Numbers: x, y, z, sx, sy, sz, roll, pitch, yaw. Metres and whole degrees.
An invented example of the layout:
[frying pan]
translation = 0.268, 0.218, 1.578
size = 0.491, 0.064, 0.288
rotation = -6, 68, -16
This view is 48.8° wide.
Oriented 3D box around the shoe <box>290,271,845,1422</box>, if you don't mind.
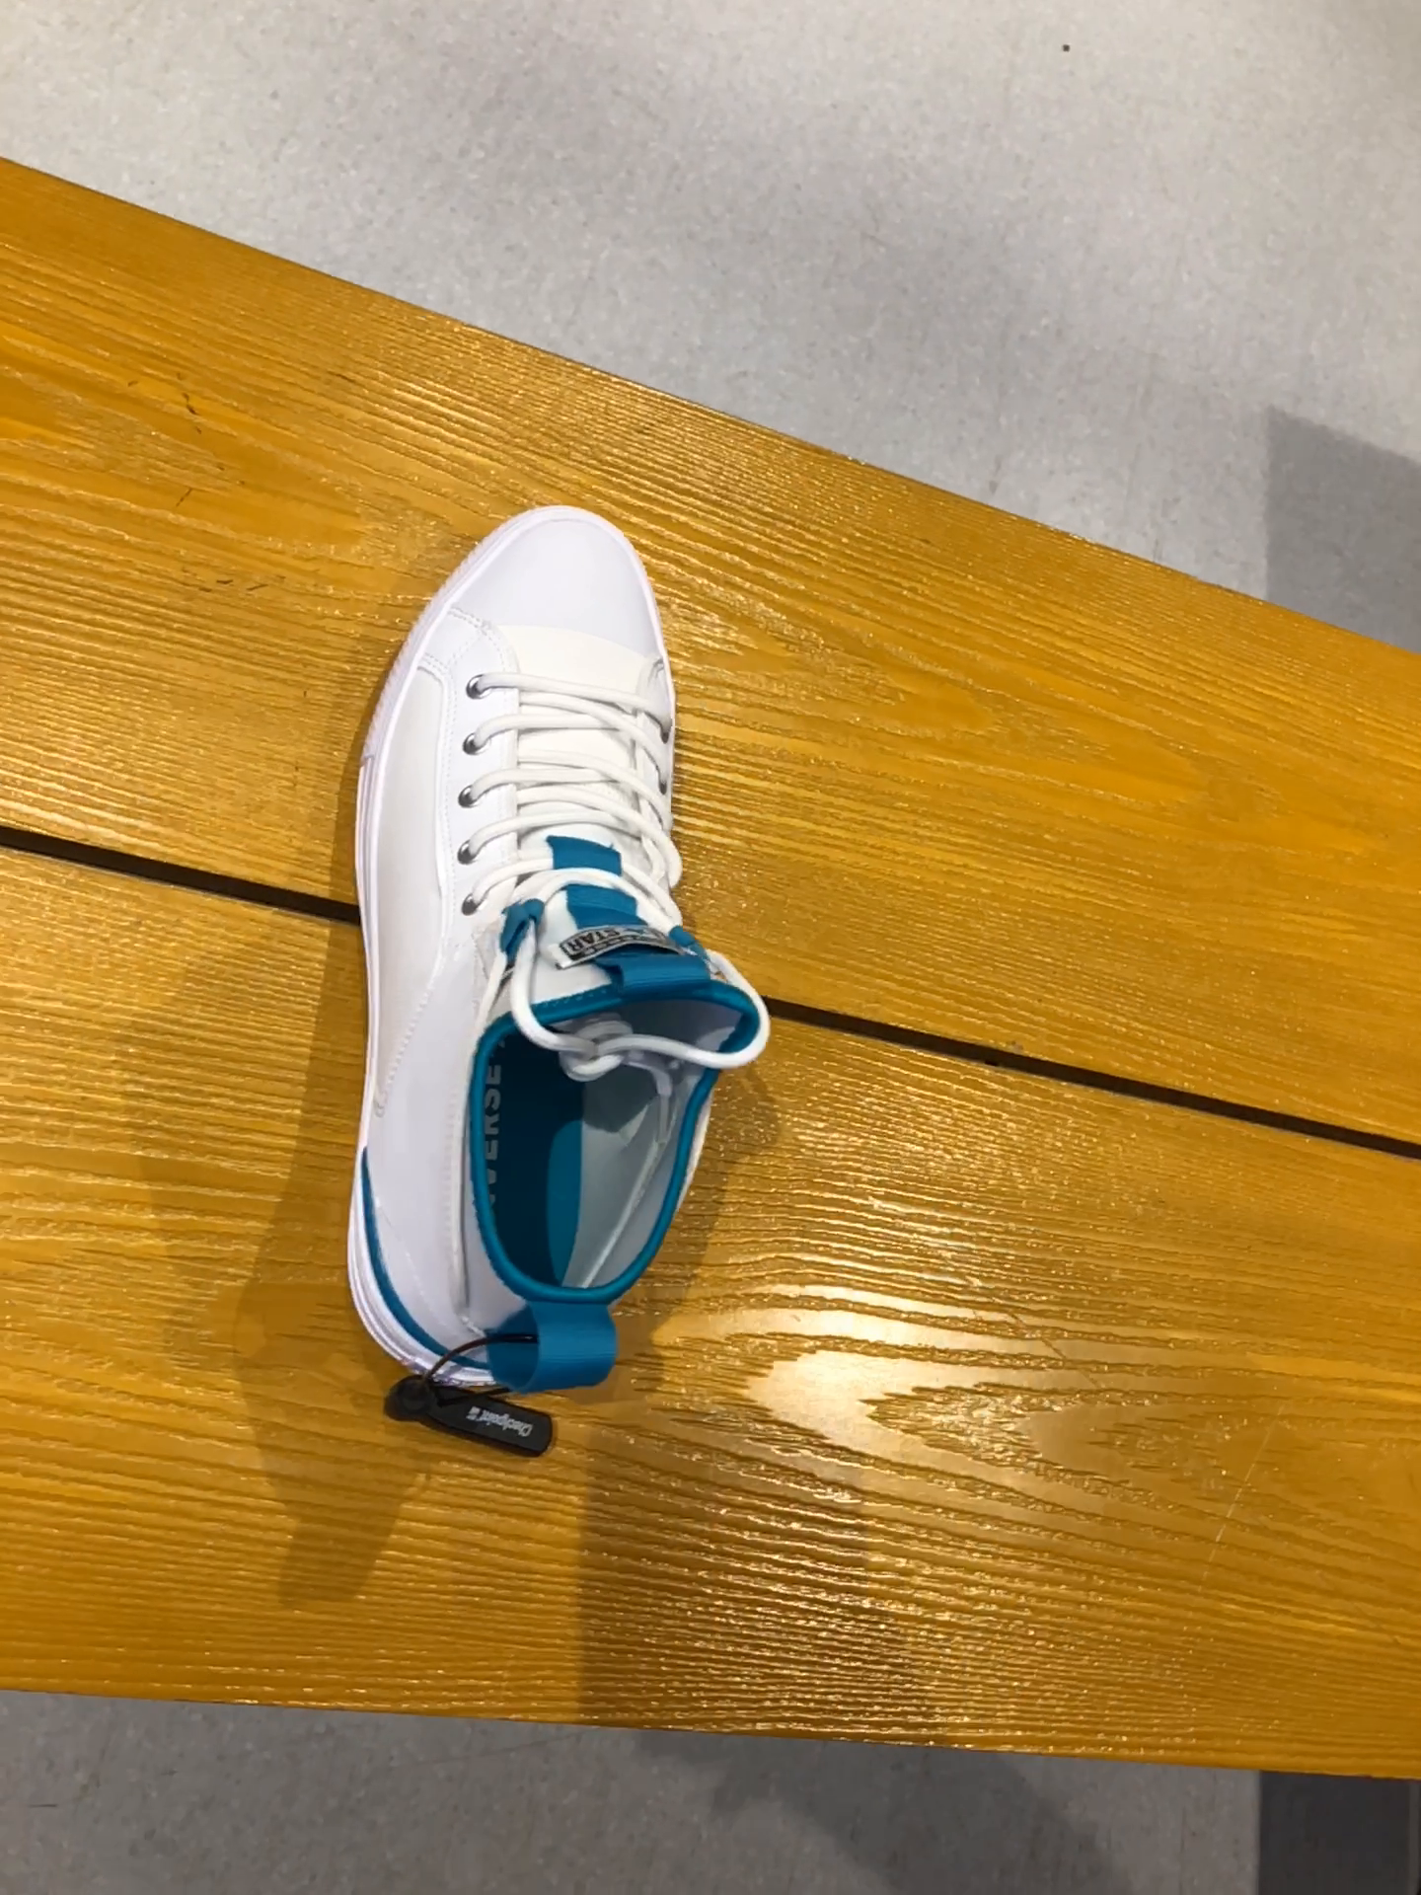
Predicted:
[shoe]
translation = -0.046, -0.015, 0.472
size = 0.108, 0.158, 0.294
rotation = 8, 74, -20
